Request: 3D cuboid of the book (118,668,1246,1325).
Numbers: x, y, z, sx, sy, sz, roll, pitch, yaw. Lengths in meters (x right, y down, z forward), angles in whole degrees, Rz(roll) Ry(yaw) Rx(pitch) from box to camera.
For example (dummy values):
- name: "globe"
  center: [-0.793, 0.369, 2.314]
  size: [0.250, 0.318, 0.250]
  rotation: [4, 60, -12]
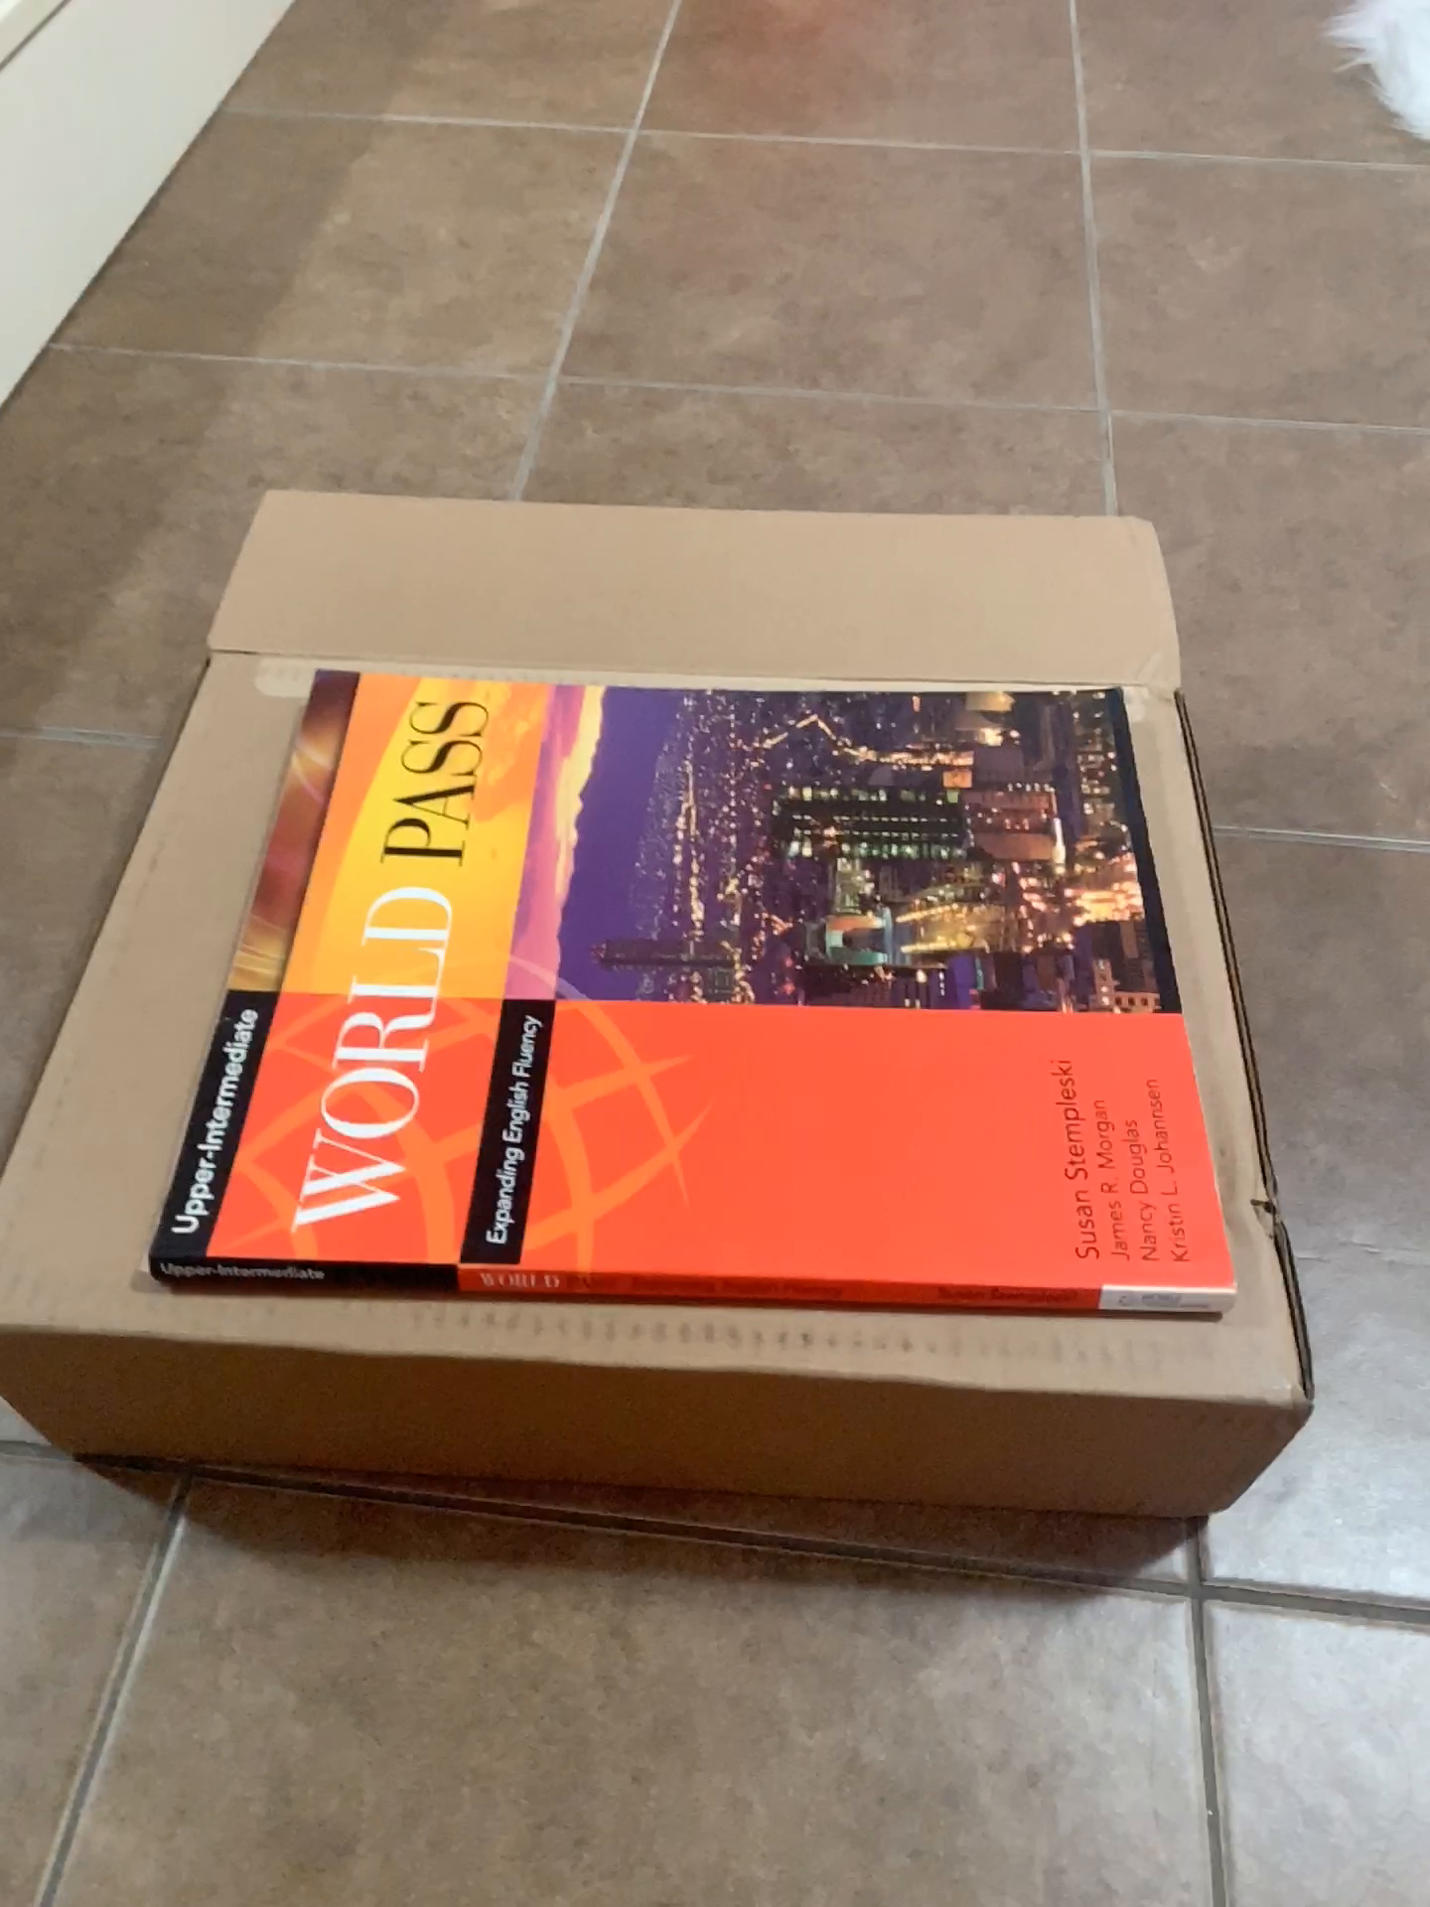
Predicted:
- name: "book"
  center: [-0.006, -0.001, 0.421]
  size: [0.270, 0.018, 0.211]
  rotation: [1, 53, 2]
